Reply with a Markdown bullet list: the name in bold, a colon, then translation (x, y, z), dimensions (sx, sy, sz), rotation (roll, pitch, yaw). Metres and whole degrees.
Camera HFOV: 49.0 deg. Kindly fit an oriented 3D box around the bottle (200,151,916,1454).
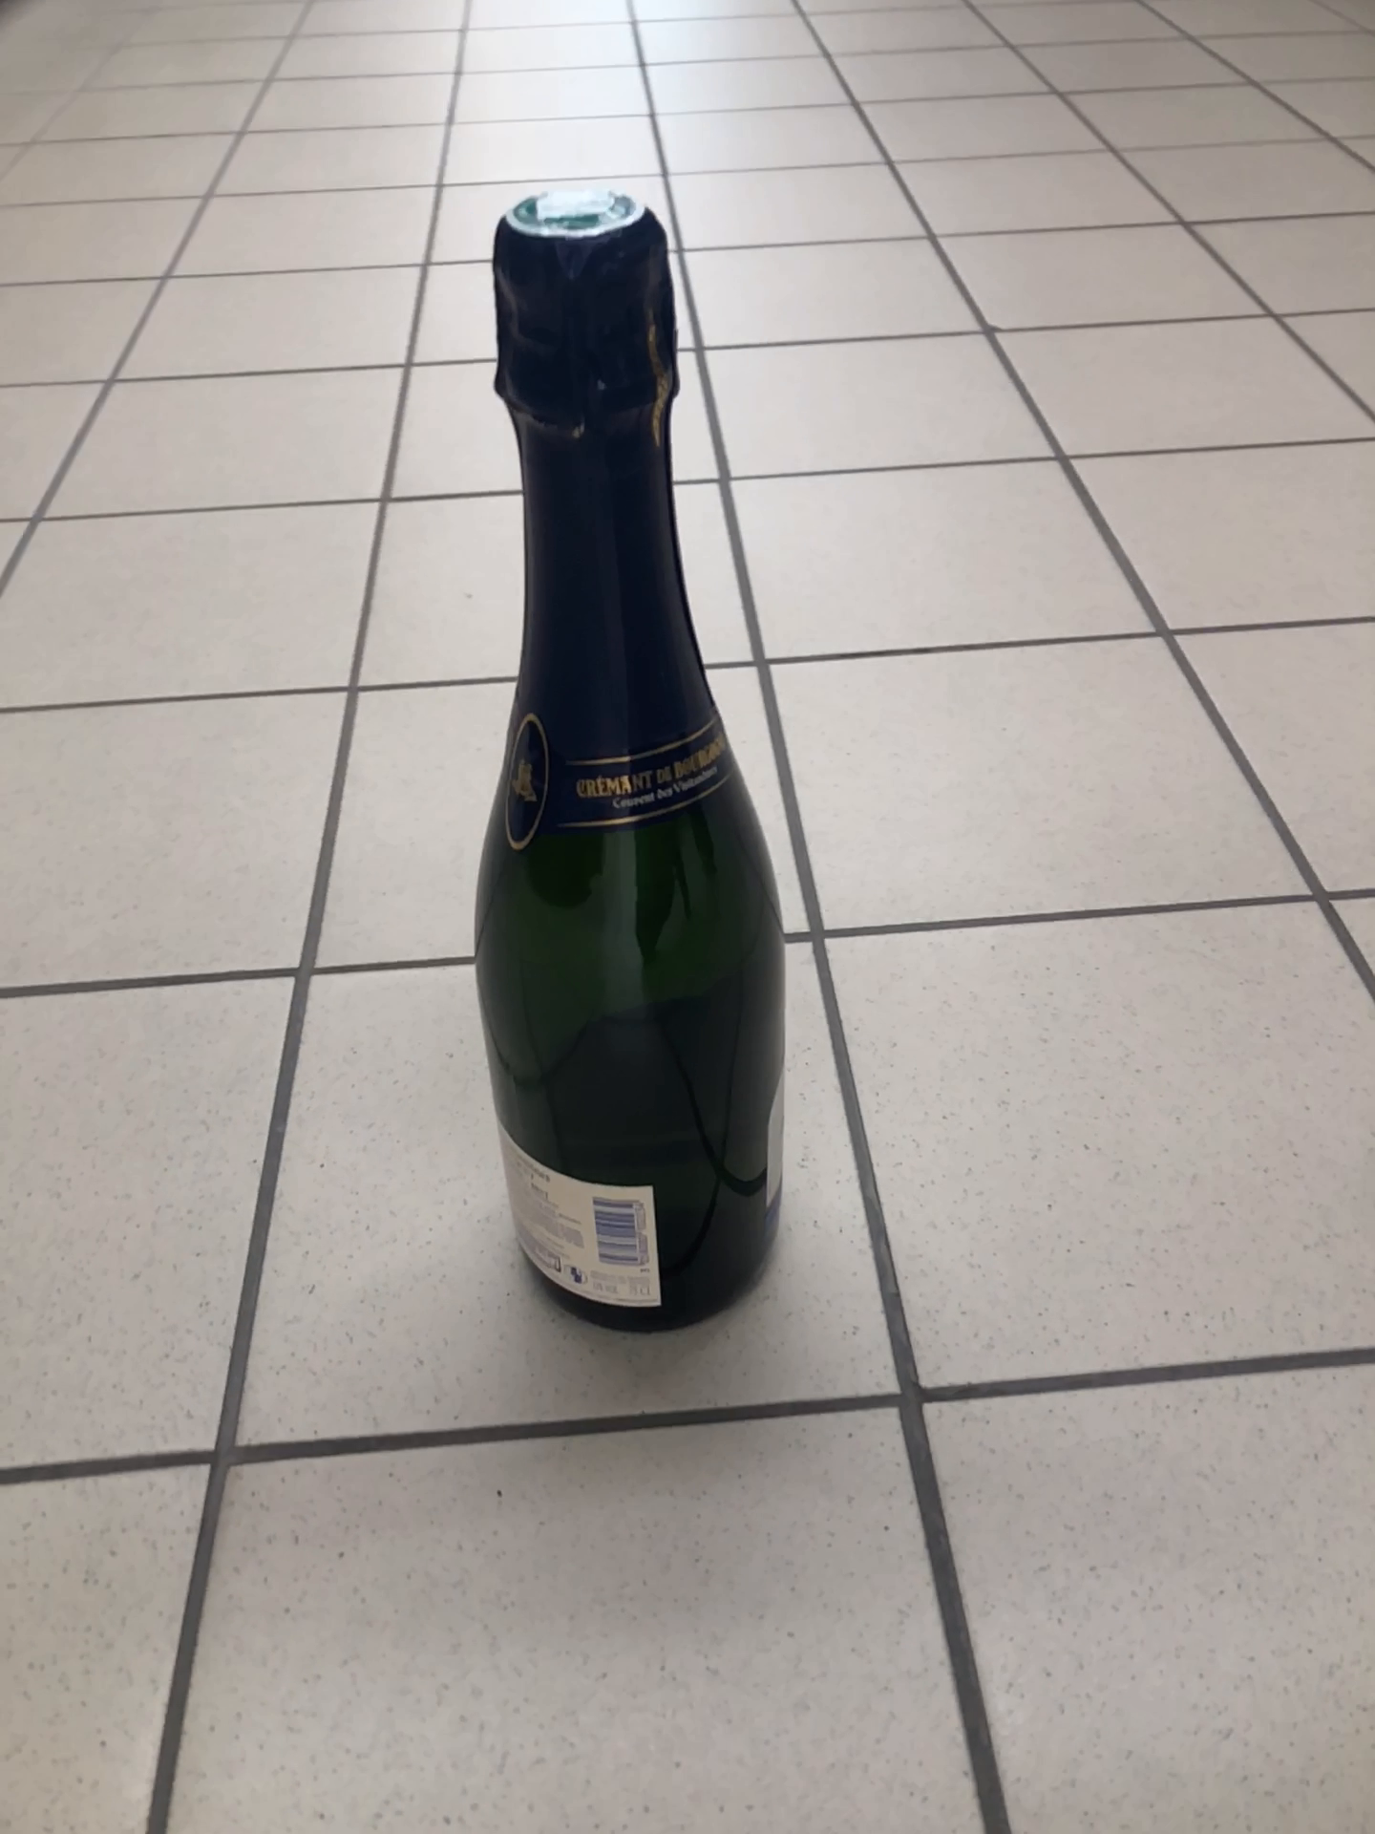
- **bottle**: translation (-0.023, -0.009, 0.385), dimensions (0.100, 0.308, 0.100), rotation (-1, 40, 1)
